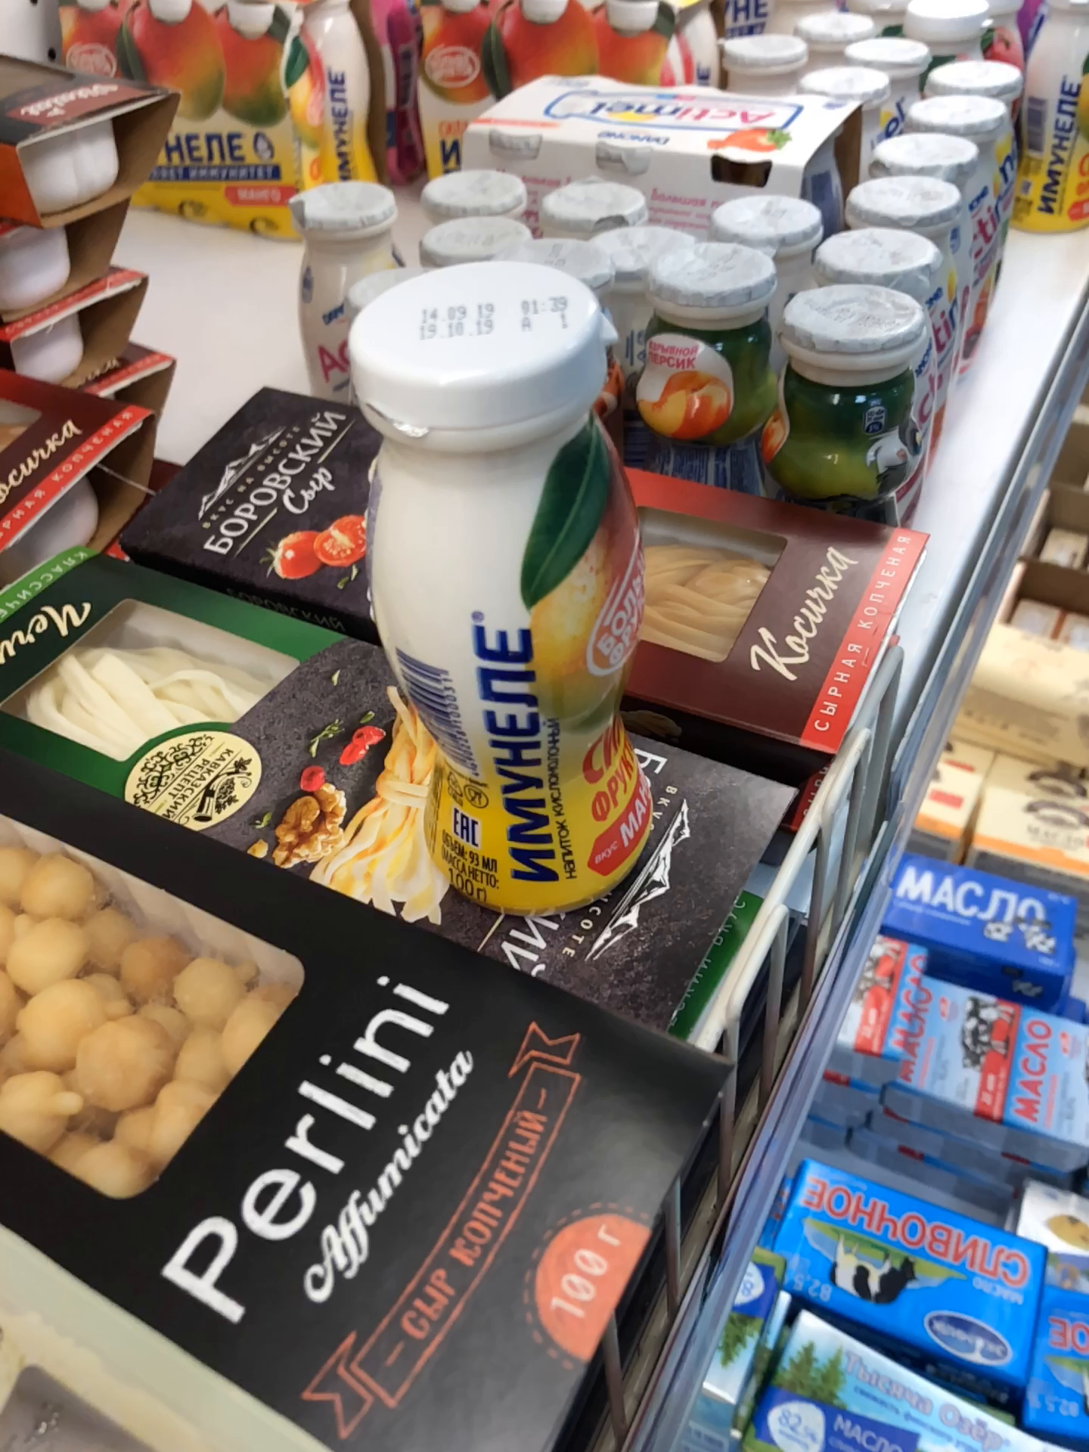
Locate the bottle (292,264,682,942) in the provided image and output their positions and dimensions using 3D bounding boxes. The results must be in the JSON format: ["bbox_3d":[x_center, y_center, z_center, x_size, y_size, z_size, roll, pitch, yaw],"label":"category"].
[{"bbox_3d":[-0.002,-0.016,0.196,0.044,0.099,0.046,-3,43,3],"label":"bottle"}]
